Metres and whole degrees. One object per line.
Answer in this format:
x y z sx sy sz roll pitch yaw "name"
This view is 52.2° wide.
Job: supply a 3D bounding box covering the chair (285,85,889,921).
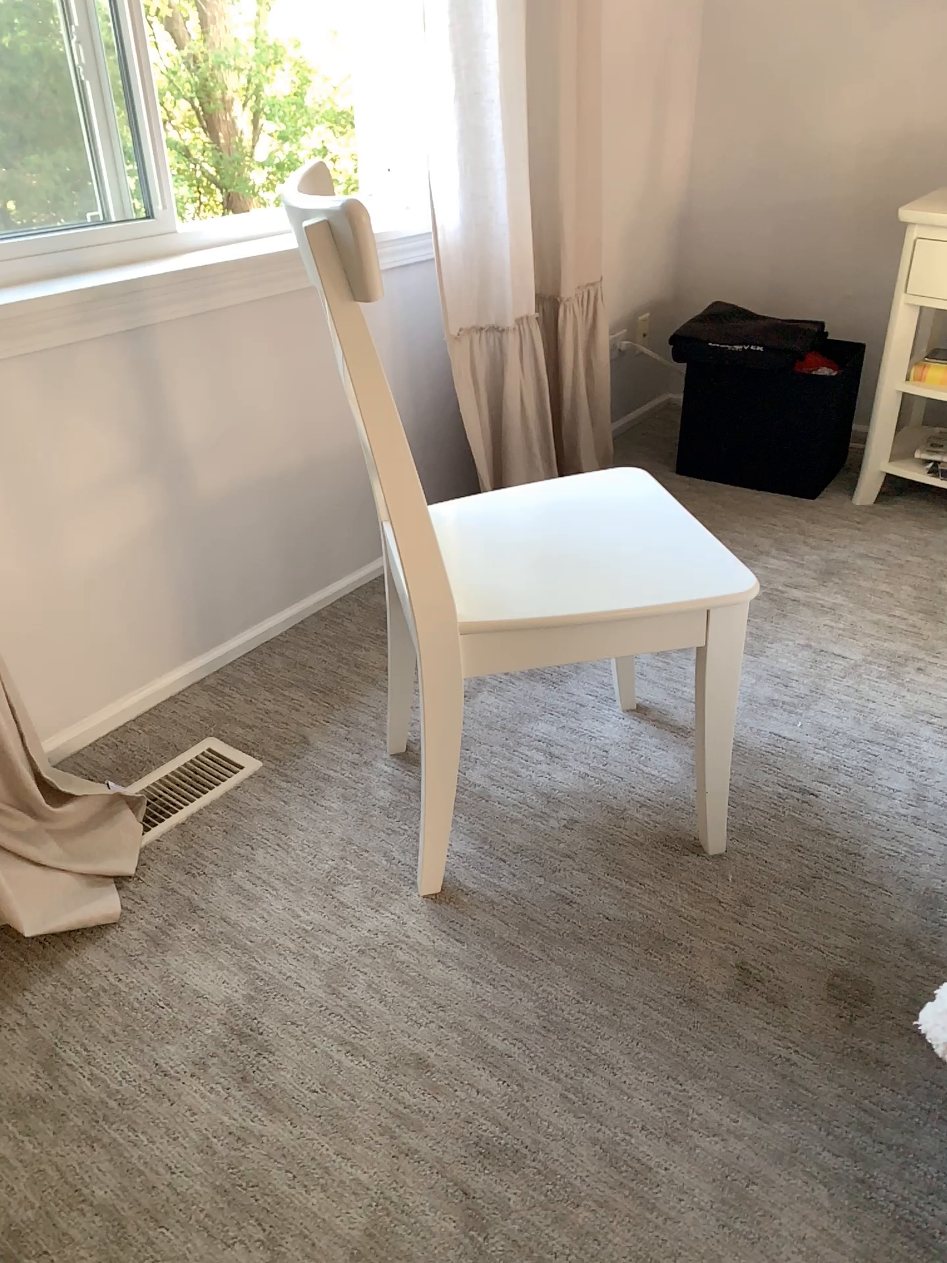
0.078 -0.192 1.242 0.480 0.855 0.573 -9 31 -9 "chair"
